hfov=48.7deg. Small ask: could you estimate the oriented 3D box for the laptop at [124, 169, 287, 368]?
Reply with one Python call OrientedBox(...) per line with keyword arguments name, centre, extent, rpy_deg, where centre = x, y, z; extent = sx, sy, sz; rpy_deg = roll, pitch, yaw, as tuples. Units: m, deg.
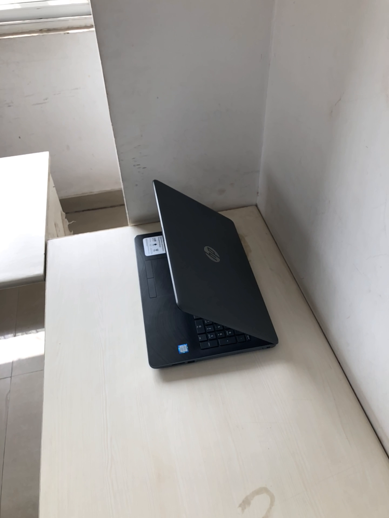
OrientedBox(name="laptop", centre=(0.004, -0.001, 0.877), extent=(0.244, 0.157, 0.358), rpy_deg=(-8, 47, -8))
